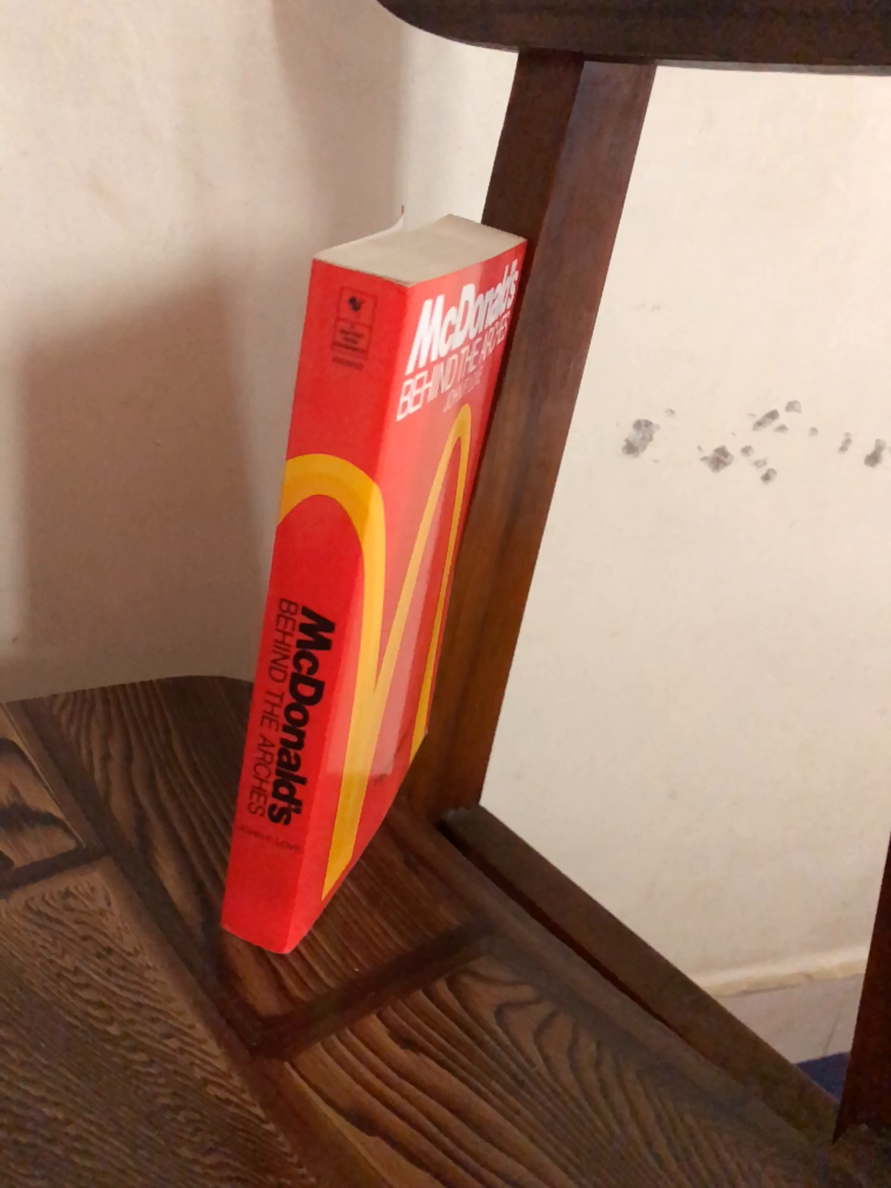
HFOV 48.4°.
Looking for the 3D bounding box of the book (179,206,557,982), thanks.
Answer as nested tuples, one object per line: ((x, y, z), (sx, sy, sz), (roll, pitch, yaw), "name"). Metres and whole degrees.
((-0.022, -0.015, 0.377), (0.040, 0.239, 0.191), (17, 23, 11), "book")
